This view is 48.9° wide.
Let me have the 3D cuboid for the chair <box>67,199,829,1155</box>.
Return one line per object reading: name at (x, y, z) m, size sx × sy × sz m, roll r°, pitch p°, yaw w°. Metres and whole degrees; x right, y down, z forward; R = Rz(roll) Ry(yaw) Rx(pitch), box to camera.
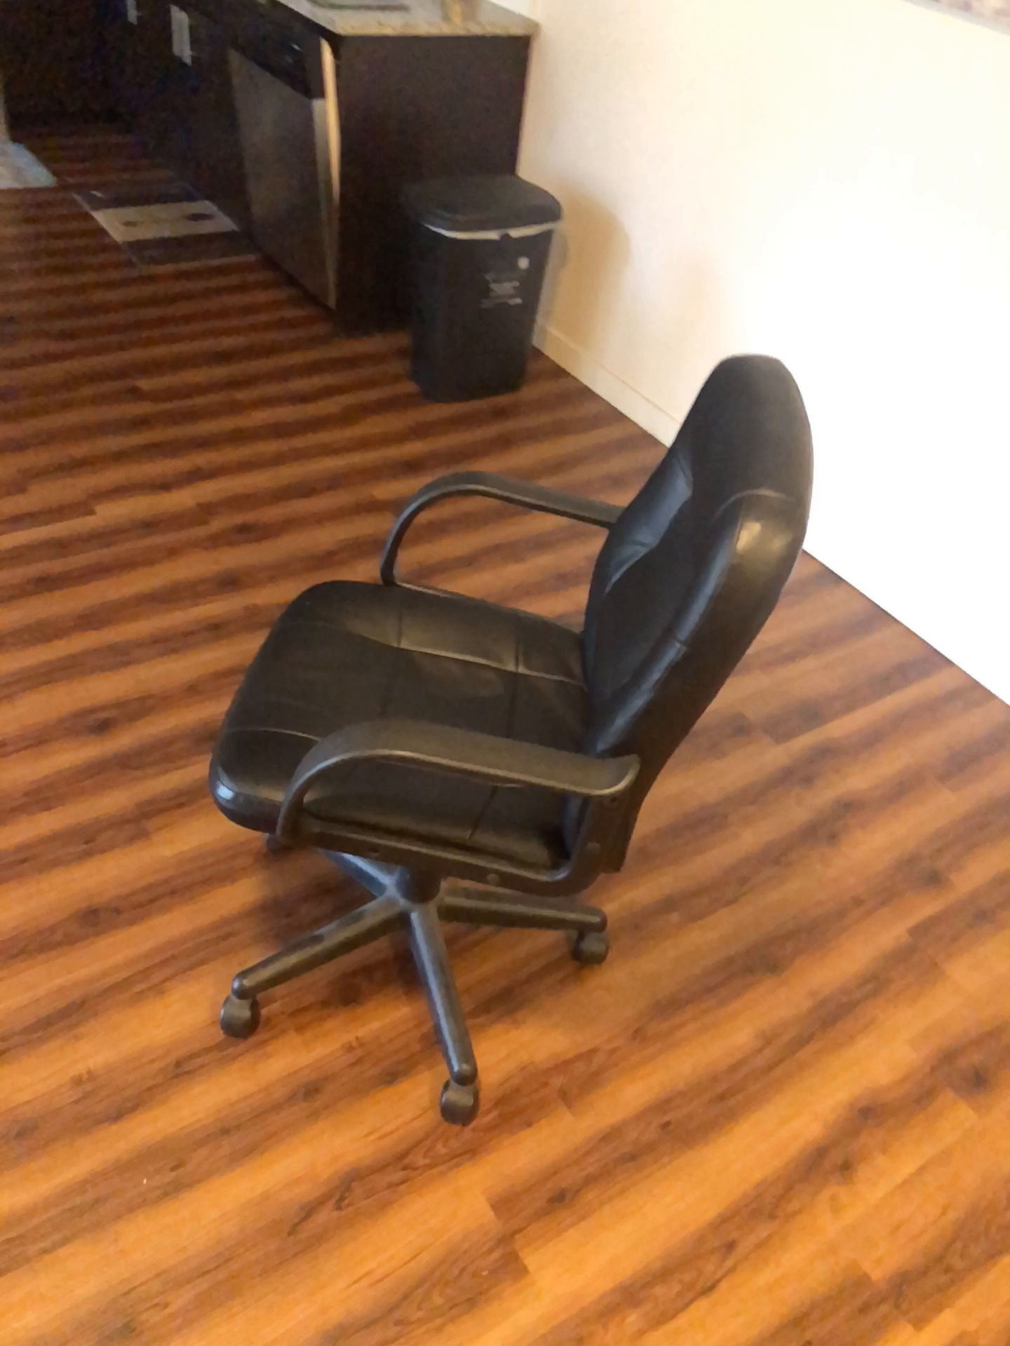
chair at (-0.062, 0.028, 1.526) m, size 0.667 × 1.011 × 0.666 m, roll 12°, pitch 40°, yaw 3°
